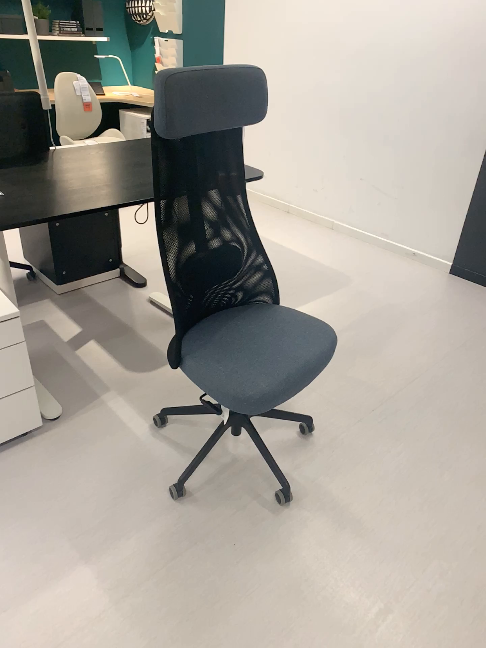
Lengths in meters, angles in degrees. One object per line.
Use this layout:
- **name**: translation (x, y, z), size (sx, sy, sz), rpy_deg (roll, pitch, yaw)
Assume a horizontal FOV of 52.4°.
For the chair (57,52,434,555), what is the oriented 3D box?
- **chair**: translation (-0.030, -0.105, 1.600), size (0.731, 1.304, 0.642), rpy_deg (28, 38, 34)
